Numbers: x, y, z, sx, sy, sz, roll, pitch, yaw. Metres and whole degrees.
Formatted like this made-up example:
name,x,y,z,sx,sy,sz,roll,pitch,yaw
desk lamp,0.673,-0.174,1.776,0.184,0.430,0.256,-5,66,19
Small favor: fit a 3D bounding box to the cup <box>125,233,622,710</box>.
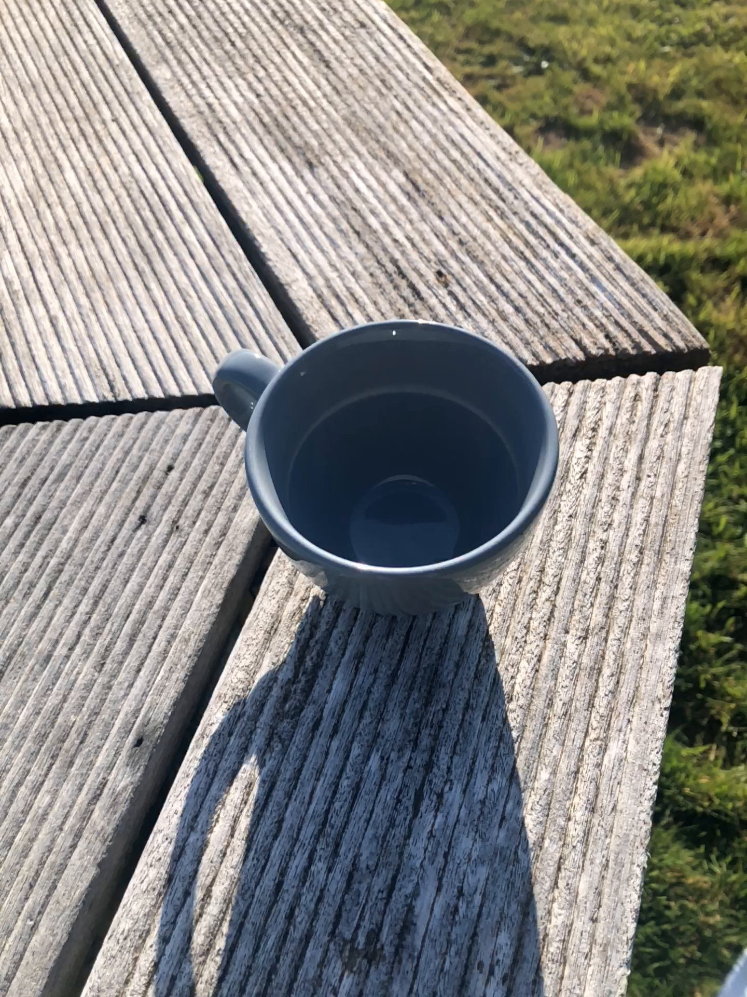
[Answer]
name,x,y,z,sx,sy,sz,roll,pitch,yaw
cup,-0.001,-0.012,0.252,0.091,0.052,0.105,-39,65,-19
